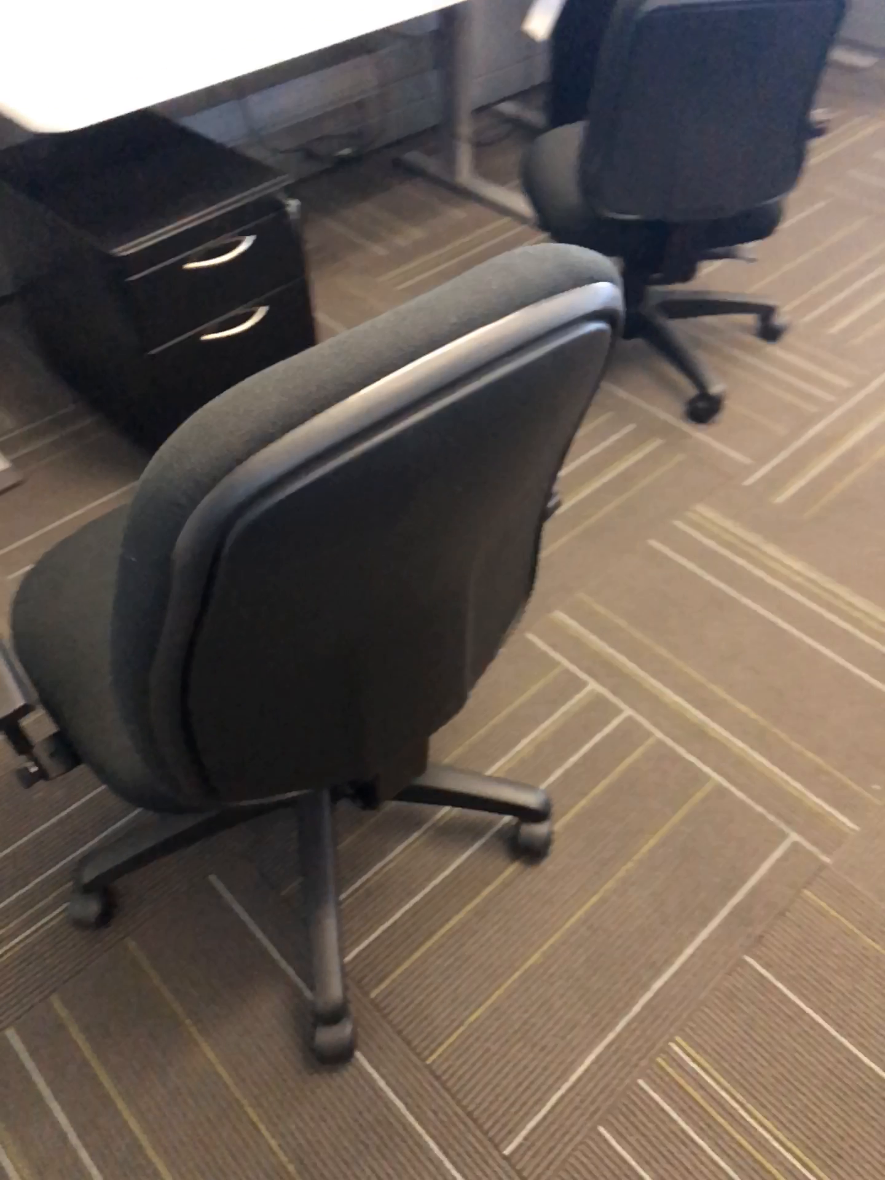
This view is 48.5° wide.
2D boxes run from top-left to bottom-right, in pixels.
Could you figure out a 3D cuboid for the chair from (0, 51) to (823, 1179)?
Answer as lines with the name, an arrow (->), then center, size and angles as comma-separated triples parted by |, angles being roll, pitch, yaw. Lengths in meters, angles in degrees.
chair -> -0.168, 0.045, 1.180 | 0.741, 0.956, 0.682 | -35, 54, -27
